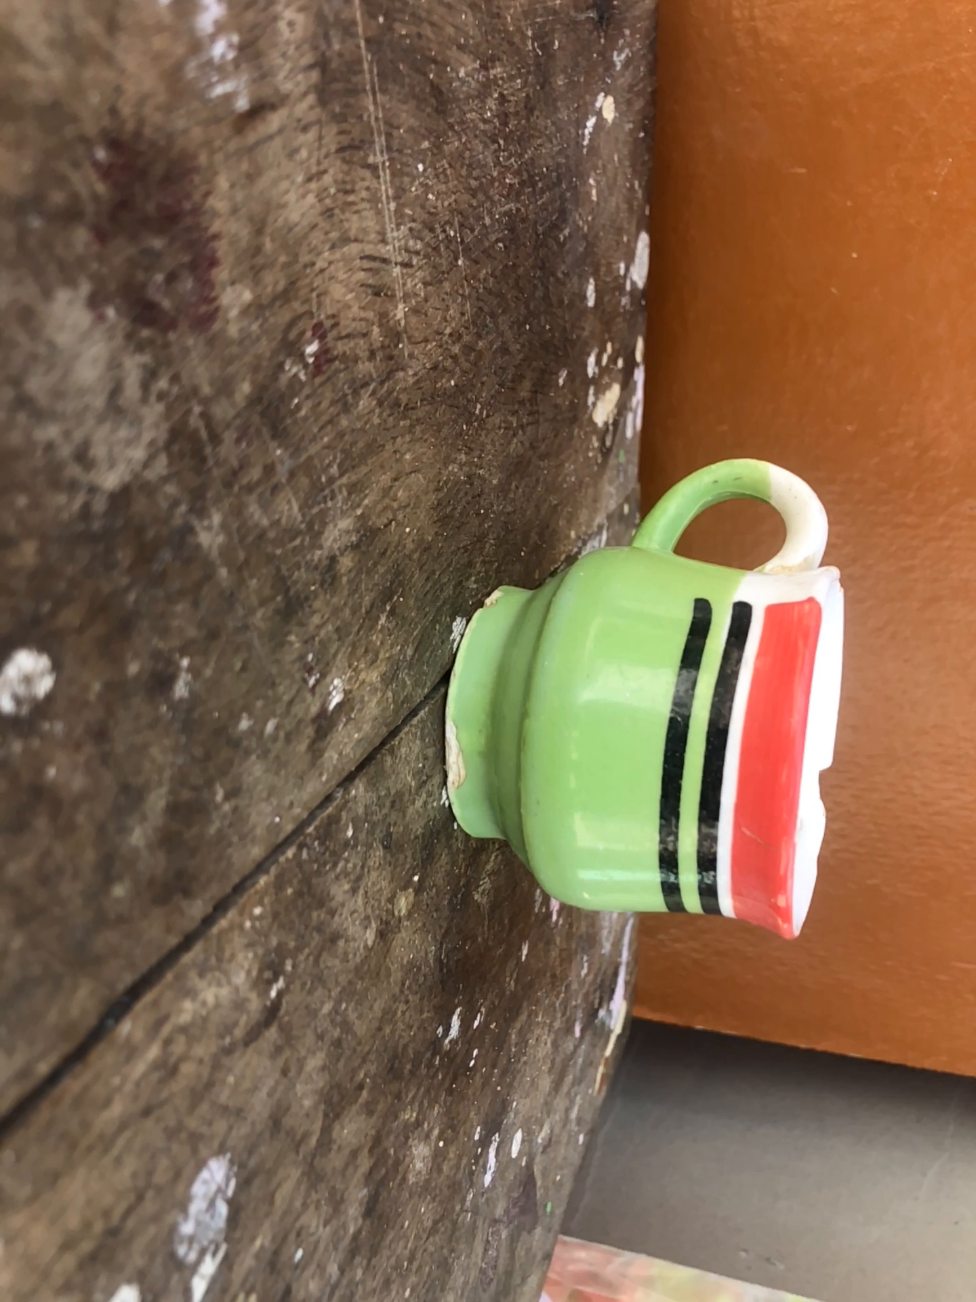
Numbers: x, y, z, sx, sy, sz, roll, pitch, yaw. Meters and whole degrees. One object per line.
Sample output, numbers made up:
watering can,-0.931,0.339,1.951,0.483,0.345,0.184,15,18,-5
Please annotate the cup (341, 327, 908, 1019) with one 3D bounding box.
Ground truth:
cup,0.032,0.000,0.191,0.070,0.070,0.090,74,27,-44
